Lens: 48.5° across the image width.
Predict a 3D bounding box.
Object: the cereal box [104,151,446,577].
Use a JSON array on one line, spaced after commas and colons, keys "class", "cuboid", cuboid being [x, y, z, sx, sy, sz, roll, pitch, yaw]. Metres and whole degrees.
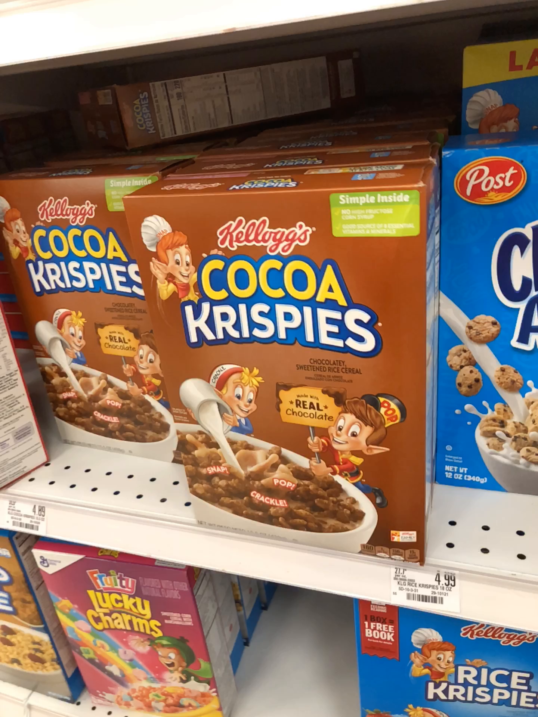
[{"class": "cereal box", "cuboid": [0.020, 0.012, 0.435, 0.200, 0.289, 0.070, 3, 30, 21]}]
